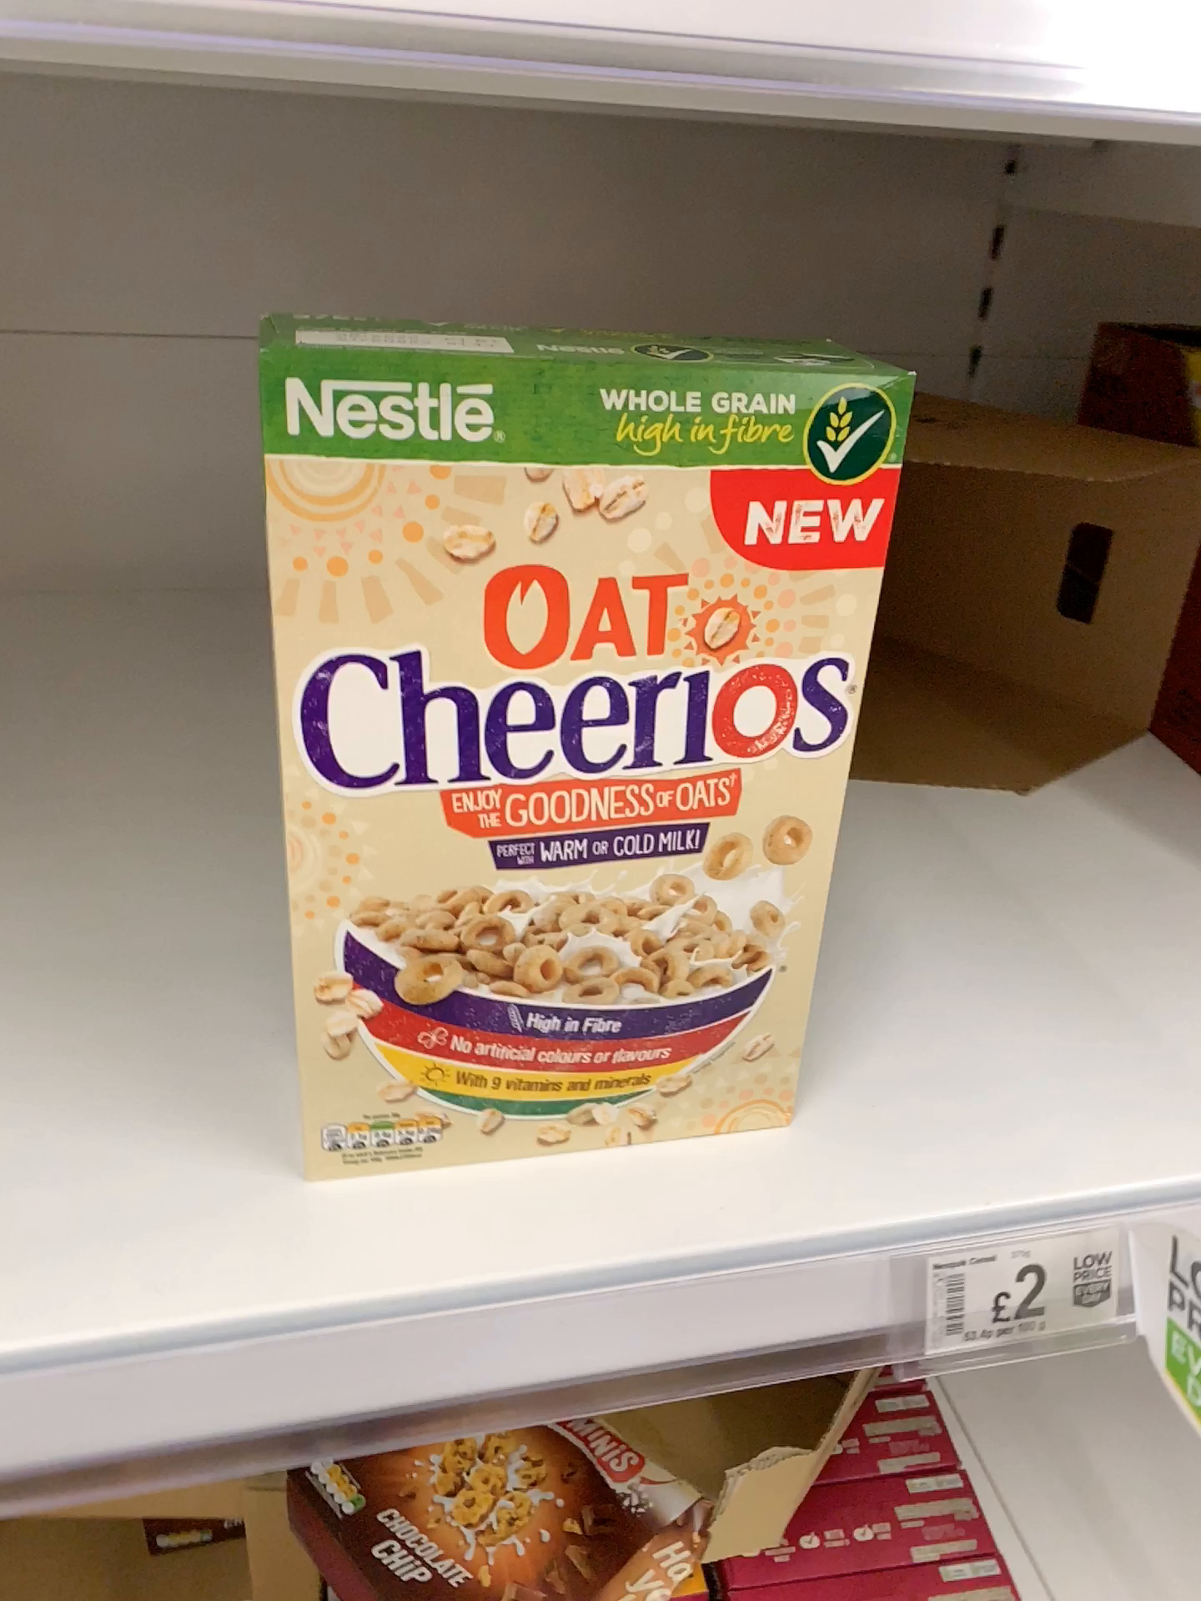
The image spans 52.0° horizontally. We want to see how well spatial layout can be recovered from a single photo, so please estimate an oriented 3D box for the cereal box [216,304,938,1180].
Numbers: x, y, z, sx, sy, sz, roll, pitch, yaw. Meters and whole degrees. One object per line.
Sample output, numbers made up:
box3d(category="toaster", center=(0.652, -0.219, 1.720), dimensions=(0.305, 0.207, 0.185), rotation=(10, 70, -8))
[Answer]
box3d(category="cereal box", center=(-0.016, -0.012, 0.431), dimensions=(0.200, 0.287, 0.071), rotation=(-3, 28, -12))
